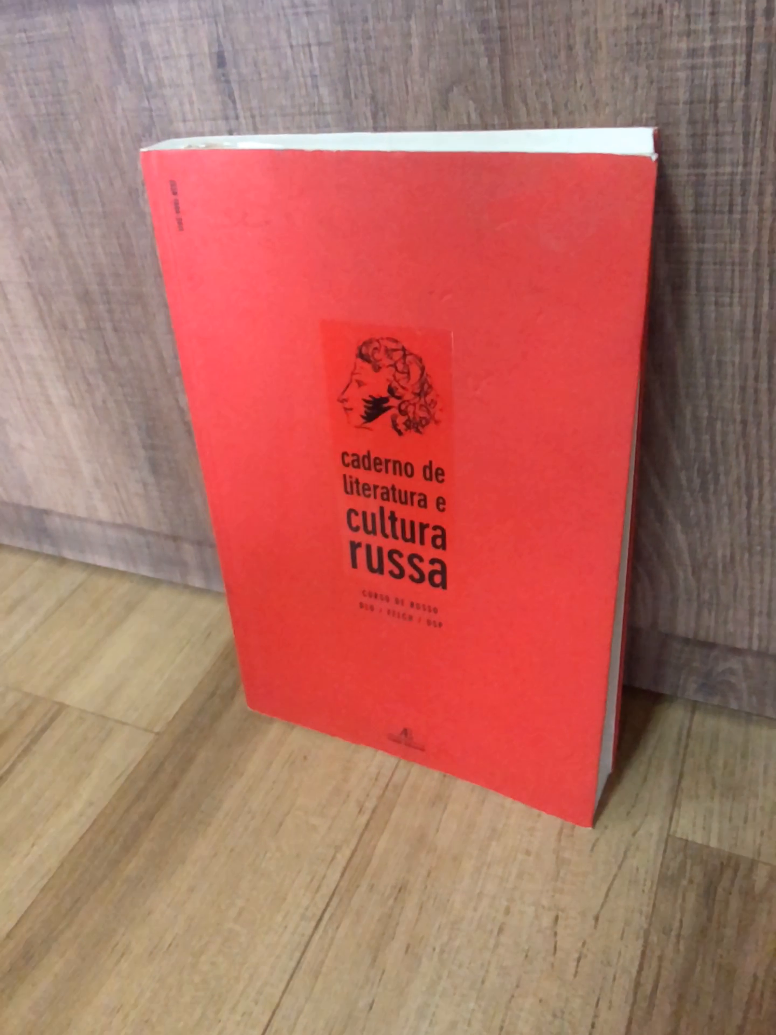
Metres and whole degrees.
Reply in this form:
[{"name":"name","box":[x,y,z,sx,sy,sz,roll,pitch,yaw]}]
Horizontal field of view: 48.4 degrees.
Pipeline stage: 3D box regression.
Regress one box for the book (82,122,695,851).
[{"name":"book","box":[0.000,-0.007,0.321,0.187,0.248,0.040,12,34,26]}]
